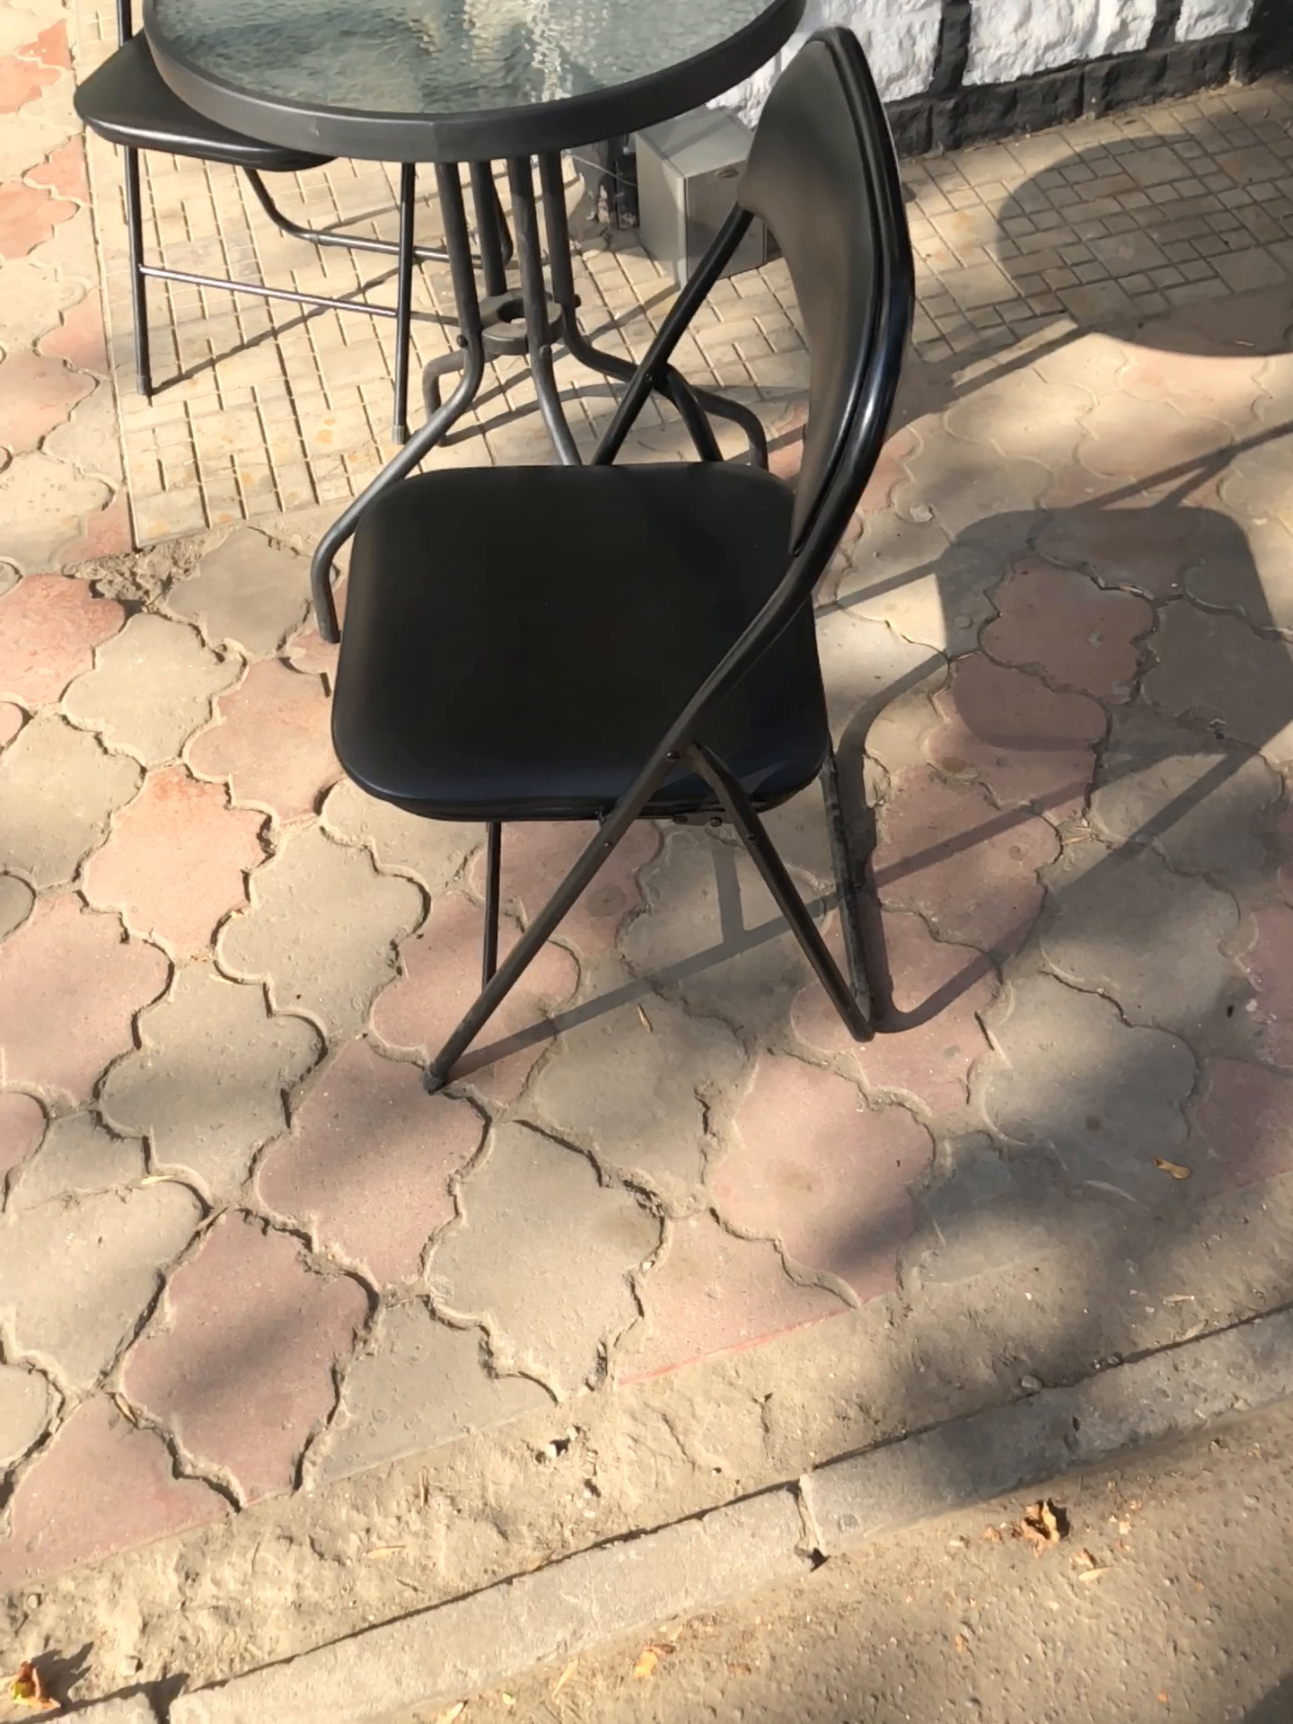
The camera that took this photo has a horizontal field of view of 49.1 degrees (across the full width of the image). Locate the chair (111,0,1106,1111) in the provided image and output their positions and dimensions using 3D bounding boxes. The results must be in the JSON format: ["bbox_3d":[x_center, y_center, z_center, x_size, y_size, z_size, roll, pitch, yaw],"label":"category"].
[{"bbox_3d":[-0.020,-0.211,1.125,0.500,0.638,0.532,-5,52,0],"label":"chair"}]
